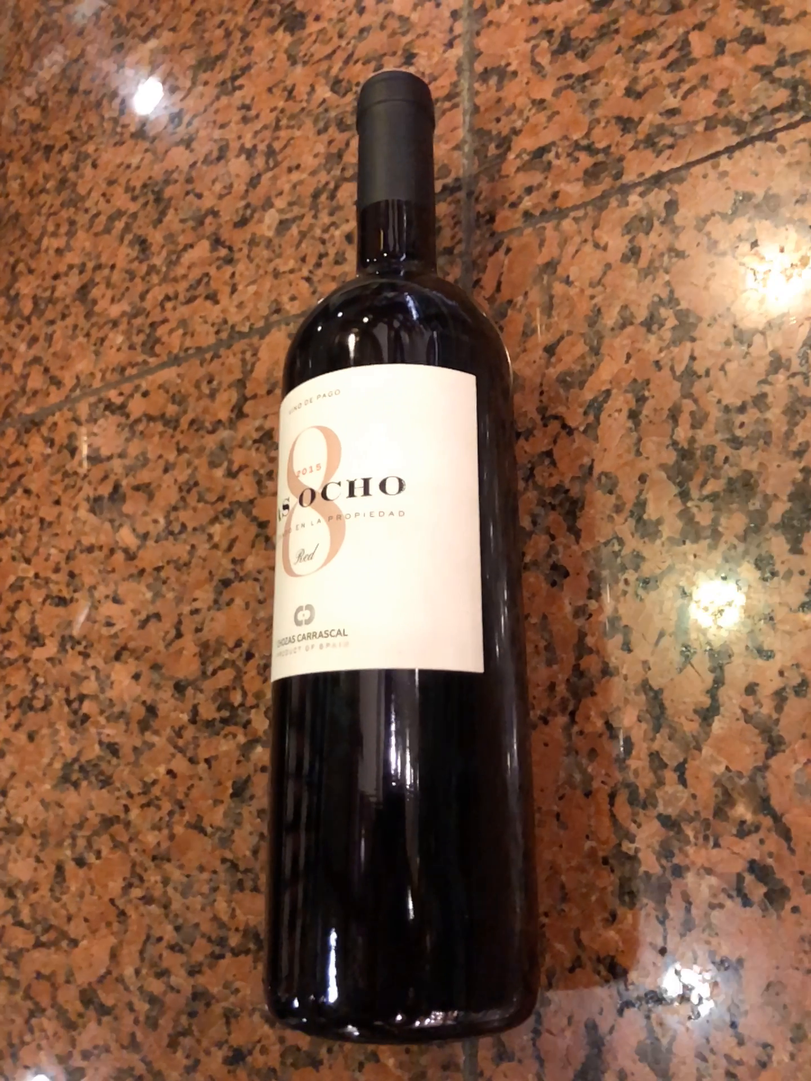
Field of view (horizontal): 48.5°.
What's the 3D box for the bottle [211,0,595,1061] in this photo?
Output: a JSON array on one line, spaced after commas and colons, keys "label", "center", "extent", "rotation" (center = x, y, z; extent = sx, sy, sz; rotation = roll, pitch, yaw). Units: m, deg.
[{"label": "bottle", "center": [-0.003, -0.034, 0.295], "extent": [0.080, 0.070, 0.340], "rotation": [-12, 71, 34]}]
